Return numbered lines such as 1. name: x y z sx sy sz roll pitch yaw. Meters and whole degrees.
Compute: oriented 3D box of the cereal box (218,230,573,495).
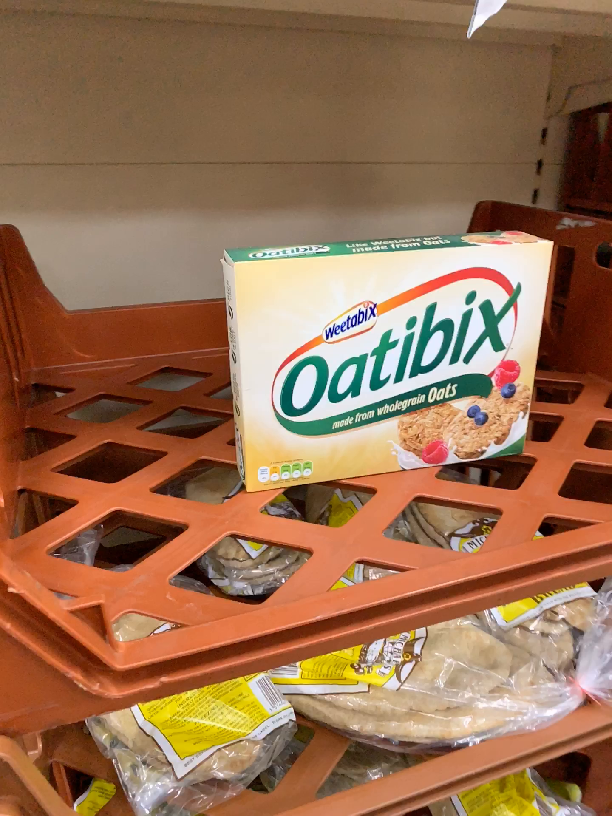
1. cereal box: 0.068 -0.043 0.511 0.260 0.179 0.071 -6 24 -14
